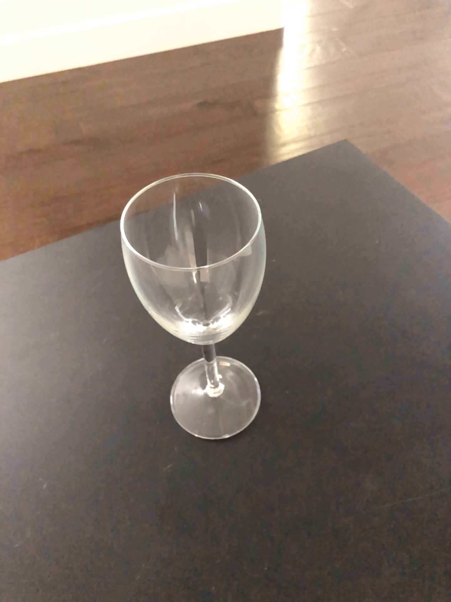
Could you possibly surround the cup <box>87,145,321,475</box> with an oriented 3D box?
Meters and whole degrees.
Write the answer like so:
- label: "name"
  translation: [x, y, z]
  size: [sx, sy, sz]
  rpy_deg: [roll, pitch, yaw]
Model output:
- label: "cup"
  translation: [-0.007, 0.016, 0.309]
  size: [0.080, 0.179, 0.080]
  rpy_deg: [-2, 49, 2]
